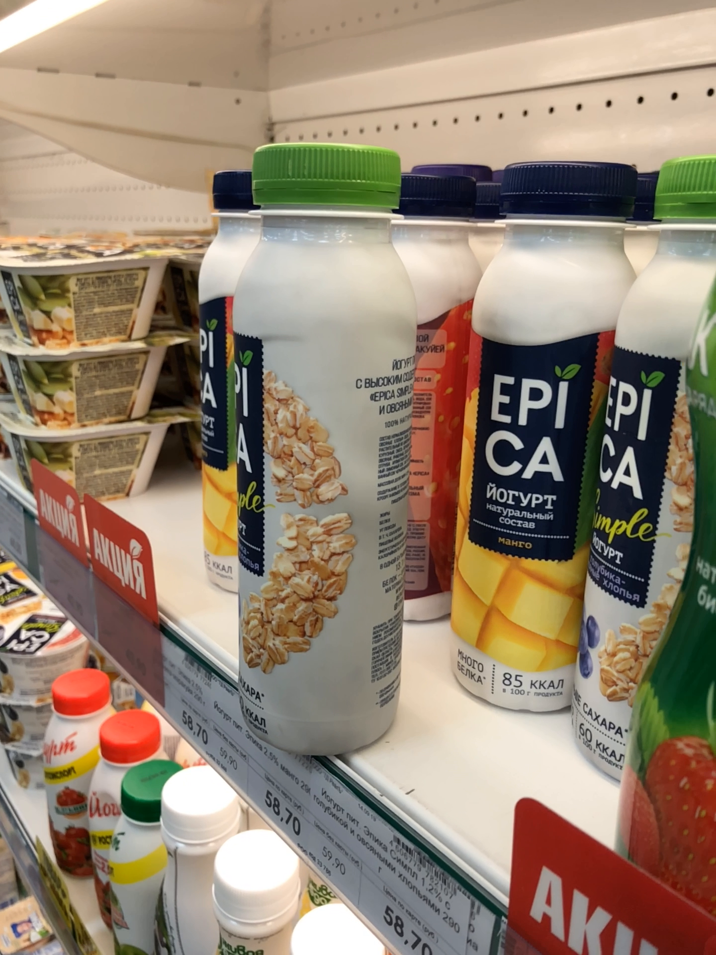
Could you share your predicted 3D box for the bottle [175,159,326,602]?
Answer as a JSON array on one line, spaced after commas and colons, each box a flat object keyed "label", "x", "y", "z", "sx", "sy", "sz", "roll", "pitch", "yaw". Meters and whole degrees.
[{"label": "bottle", "x": -0.044, "y": -0.040, "z": 0.334, "sx": 0.049, "sy": 0.170, "sz": 0.053, "roll": 0, "pitch": 17, "yaw": 0}]

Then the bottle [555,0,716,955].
[{"label": "bottle", "x": 0.080, "y": 0.016, "z": 0.145, "sx": 0.052, "sy": 0.182, "sz": 0.053, "roll": 0, "pitch": 17, "yaw": 0}]

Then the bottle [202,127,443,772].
[{"label": "bottle", "x": -0.012, "y": -0.007, "z": 0.234, "sx": 0.052, "sy": 0.170, "sz": 0.053, "roll": 0, "pitch": 17, "yaw": 0}]
